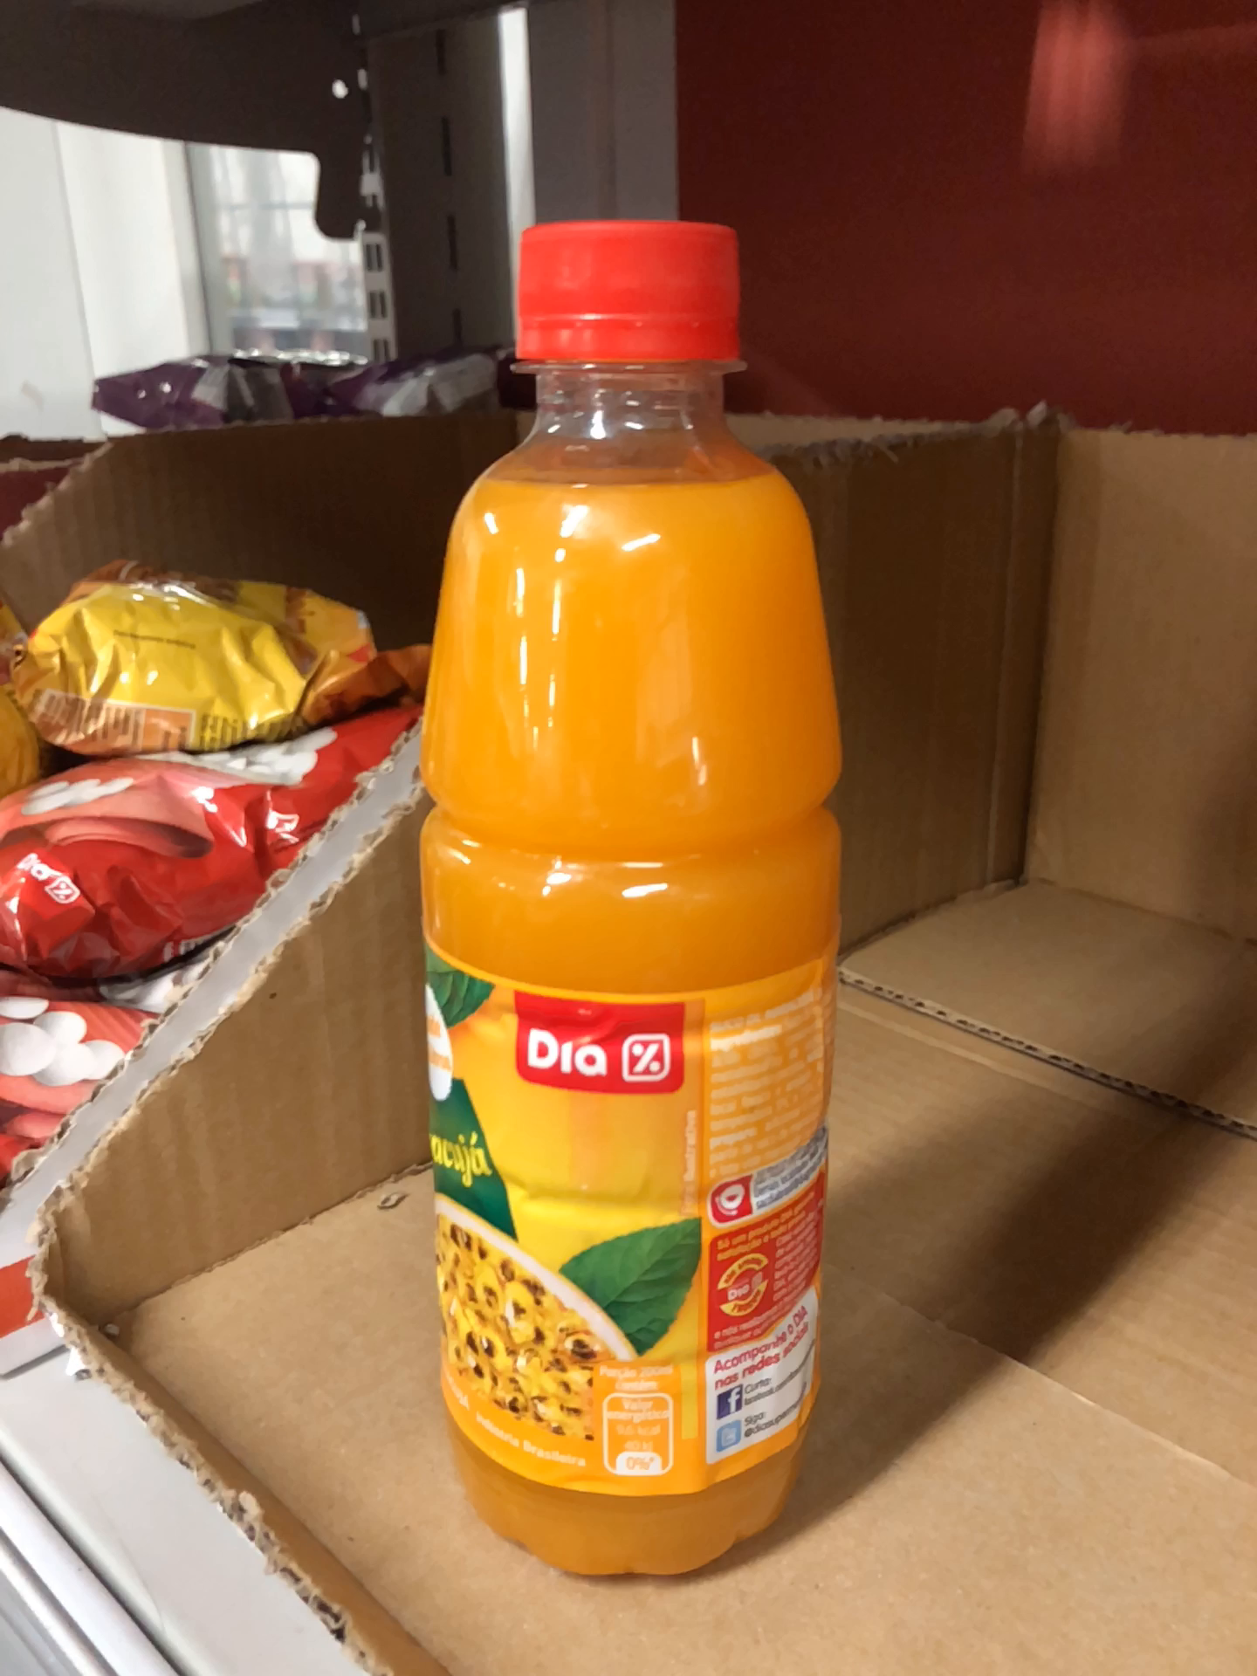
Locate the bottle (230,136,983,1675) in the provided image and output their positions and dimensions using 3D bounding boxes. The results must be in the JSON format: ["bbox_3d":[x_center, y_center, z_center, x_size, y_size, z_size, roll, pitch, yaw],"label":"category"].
[{"bbox_3d":[-0.003,0.010,0.212,0.070,0.199,0.070,-1,19,0],"label":"bottle"}]
